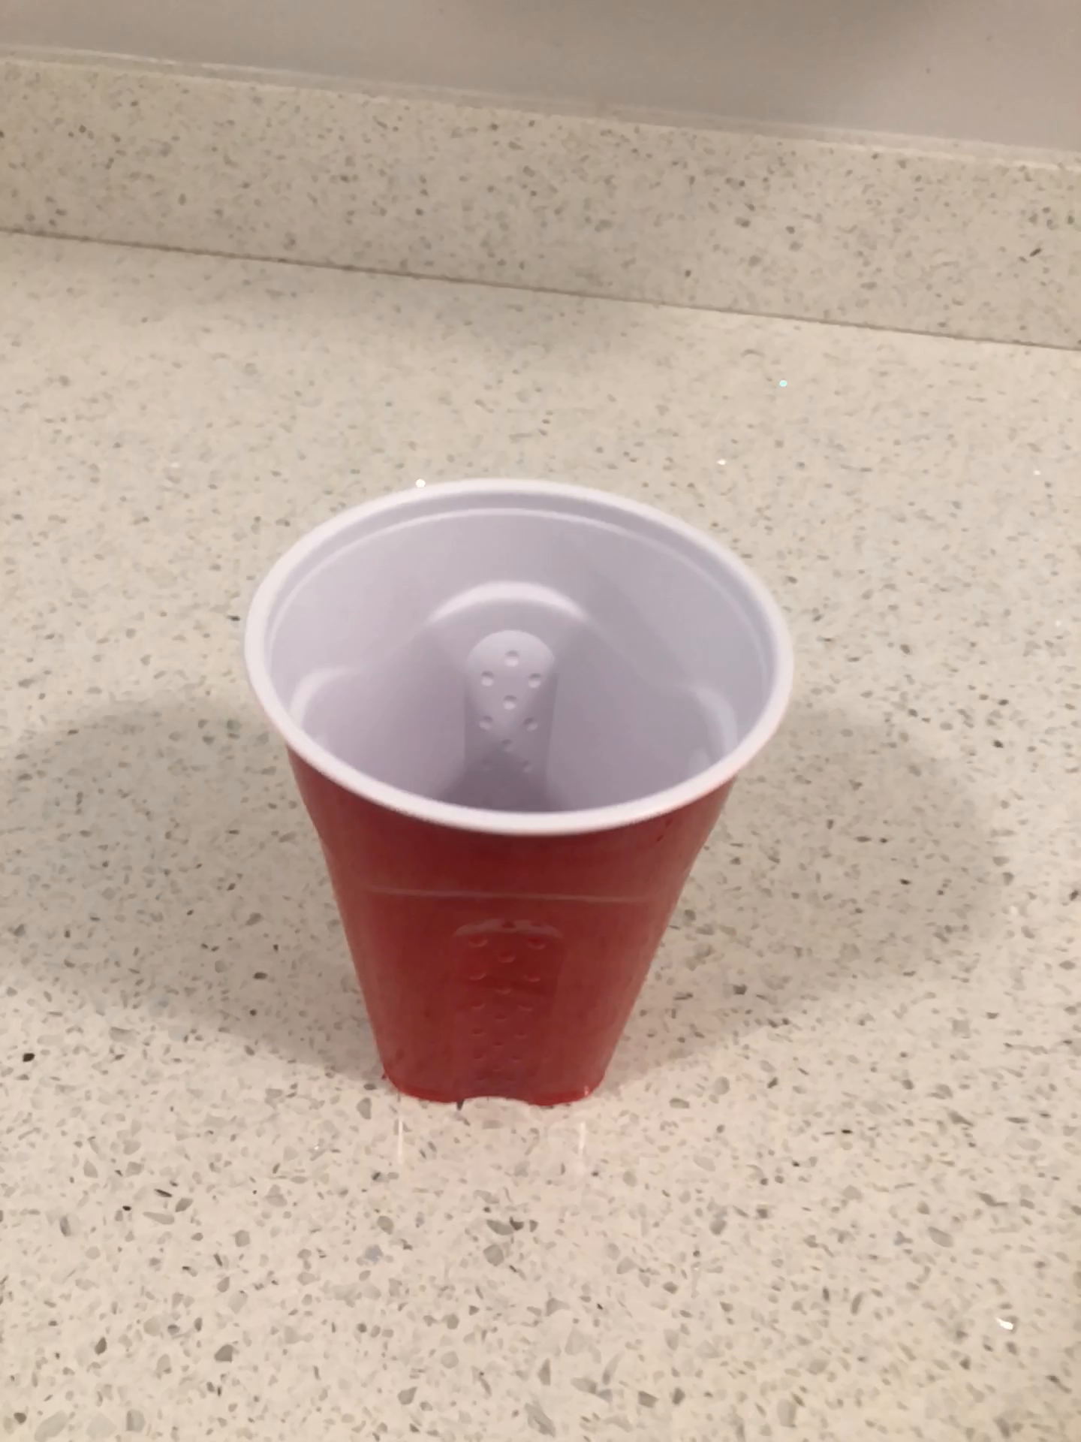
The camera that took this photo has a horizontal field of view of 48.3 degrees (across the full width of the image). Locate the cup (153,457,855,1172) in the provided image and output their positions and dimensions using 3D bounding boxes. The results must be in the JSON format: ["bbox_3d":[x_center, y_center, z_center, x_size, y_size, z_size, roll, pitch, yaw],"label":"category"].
[{"bbox_3d":[-0.006,0.017,0.241,0.100,0.092,0.102,2,43,-2],"label":"cup"}]
